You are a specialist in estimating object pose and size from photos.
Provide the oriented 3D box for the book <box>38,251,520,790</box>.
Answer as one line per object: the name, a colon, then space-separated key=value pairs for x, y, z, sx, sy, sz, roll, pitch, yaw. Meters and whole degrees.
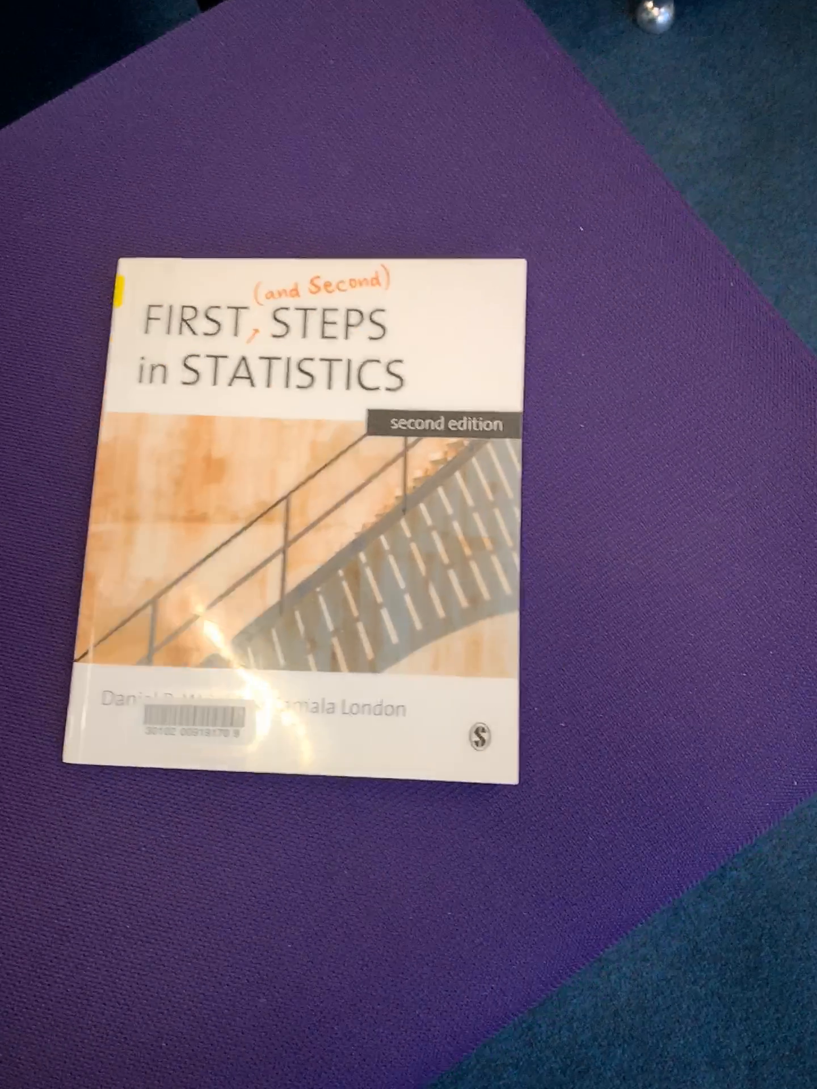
book: x=-0.048 y=-0.017 z=0.363 sx=0.188 sy=0.022 sz=0.229 roll=2 pitch=78 yaw=3
